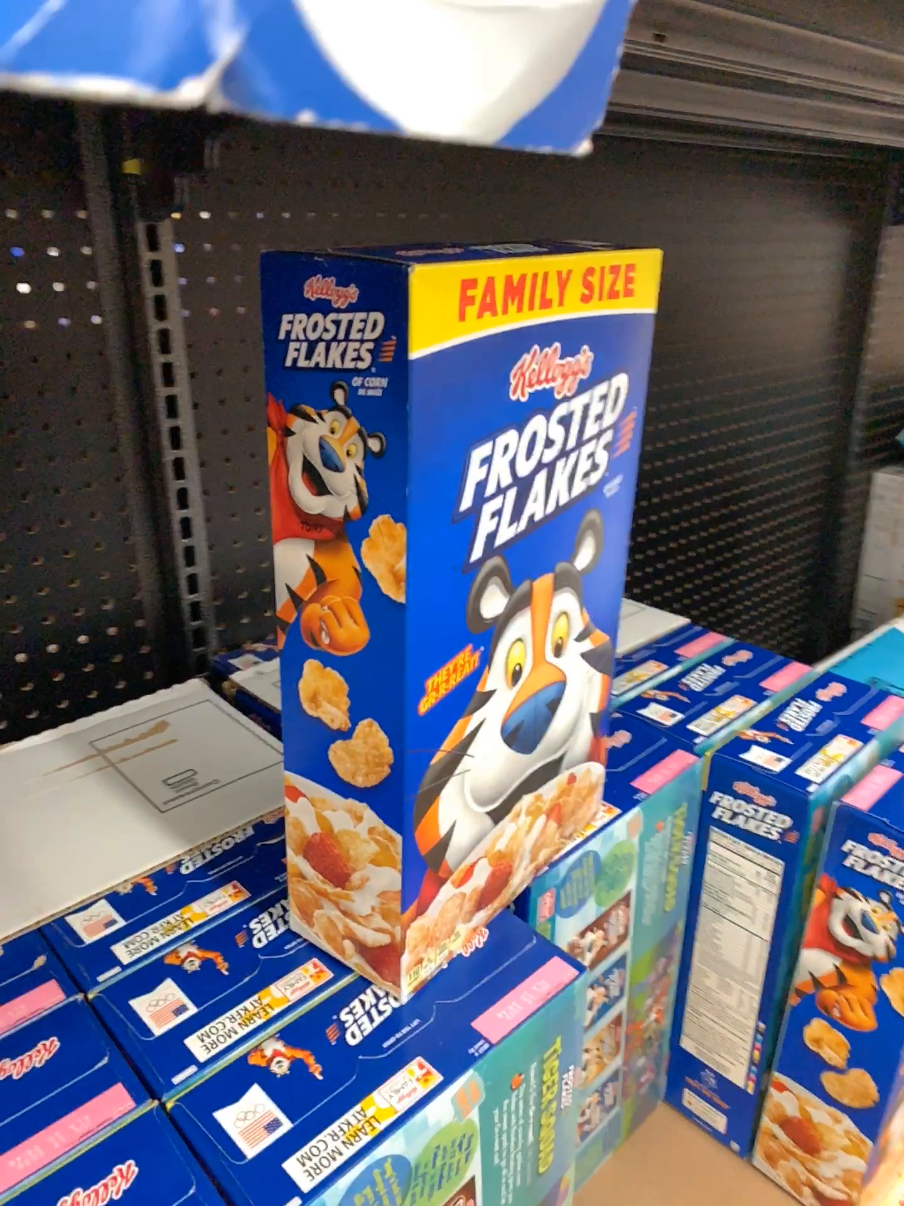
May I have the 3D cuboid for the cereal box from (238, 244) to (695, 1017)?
[{"bbox_3d":[0.014,-0.002,0.454,0.080,0.318,0.211,19,29,35],"label":"cereal box"}]
